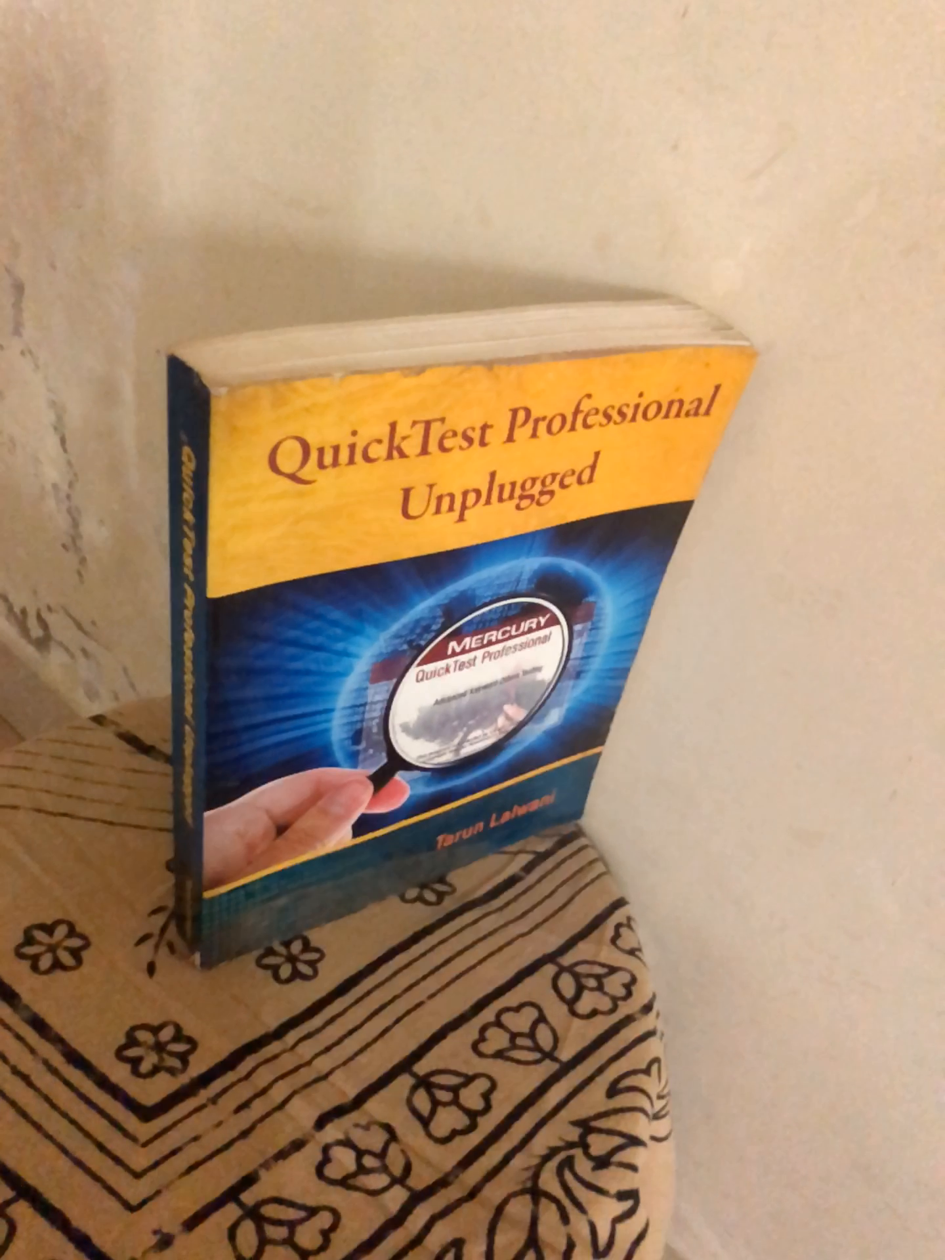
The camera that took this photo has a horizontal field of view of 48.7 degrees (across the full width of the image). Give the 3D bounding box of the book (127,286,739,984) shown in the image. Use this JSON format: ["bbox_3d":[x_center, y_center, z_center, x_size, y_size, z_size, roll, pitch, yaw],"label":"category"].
[{"bbox_3d":[-0.026,0.003,0.423,0.211,0.269,0.050,-12,41,-32],"label":"book"}]
